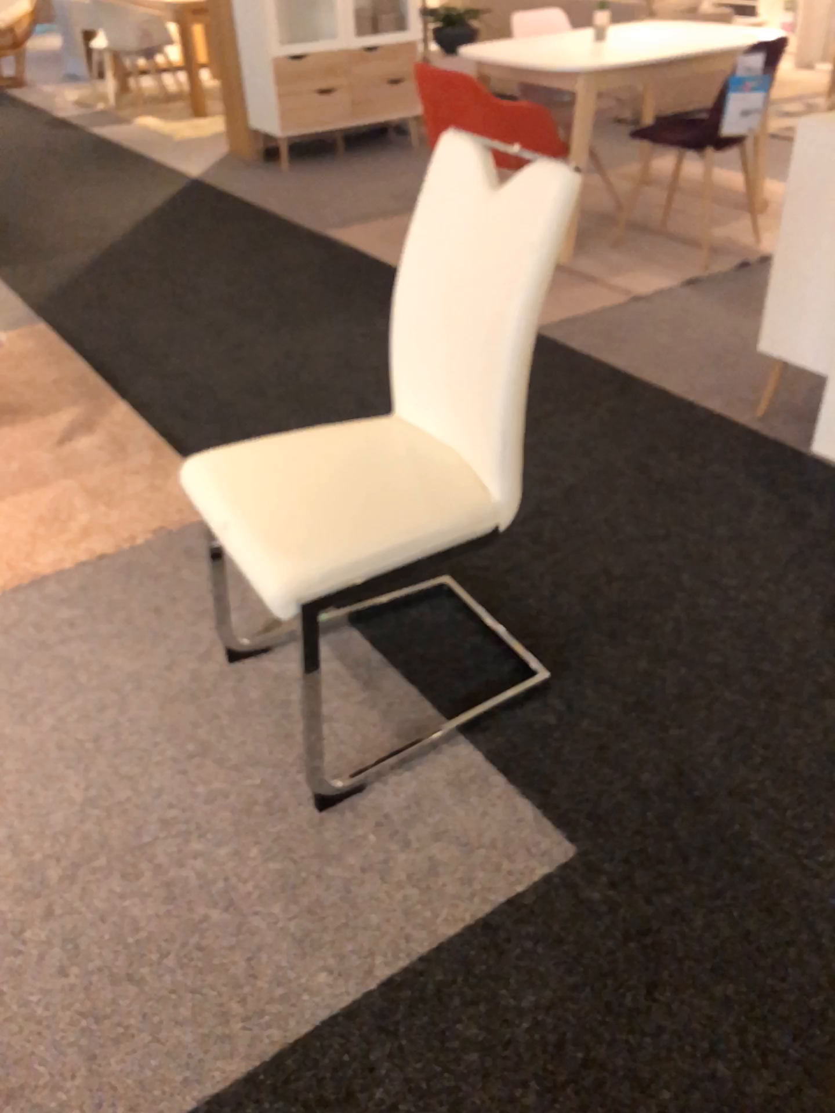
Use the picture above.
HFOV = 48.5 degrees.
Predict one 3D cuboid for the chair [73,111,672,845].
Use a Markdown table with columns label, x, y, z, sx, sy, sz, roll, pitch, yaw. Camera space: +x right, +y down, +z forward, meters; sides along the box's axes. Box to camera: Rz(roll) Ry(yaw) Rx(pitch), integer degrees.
| label | x | y | z | sx | sy | sz | roll | pitch | yaw |
| --- | --- | --- | --- | --- | --- | --- | --- | --- | --- |
| chair | -0.068 | -0.158 | 1.529 | 0.632 | 0.915 | 0.561 | -20 | 38 | -24 |
